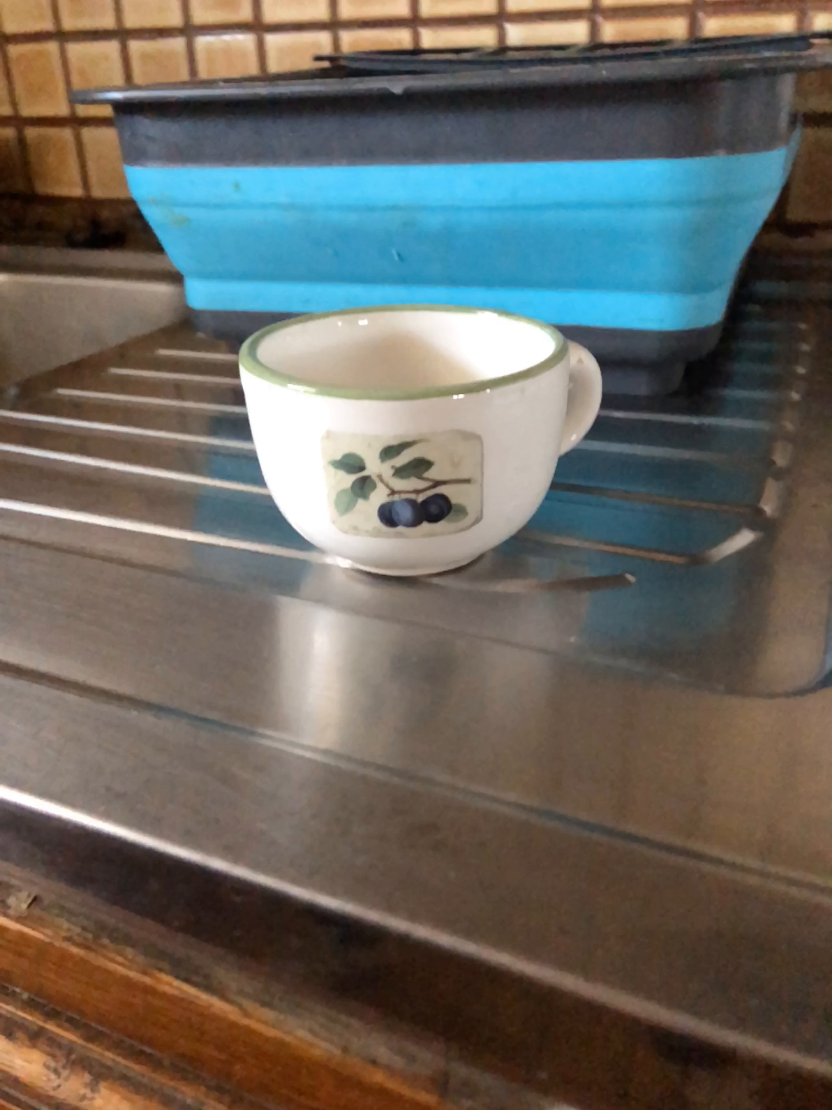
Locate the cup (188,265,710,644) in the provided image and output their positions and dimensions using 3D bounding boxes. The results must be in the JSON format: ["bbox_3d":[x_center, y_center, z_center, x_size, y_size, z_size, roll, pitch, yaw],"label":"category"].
[{"bbox_3d":[0.005,-0.037,0.260,0.110,0.060,0.090,-14,31,-21],"label":"cup"}]
